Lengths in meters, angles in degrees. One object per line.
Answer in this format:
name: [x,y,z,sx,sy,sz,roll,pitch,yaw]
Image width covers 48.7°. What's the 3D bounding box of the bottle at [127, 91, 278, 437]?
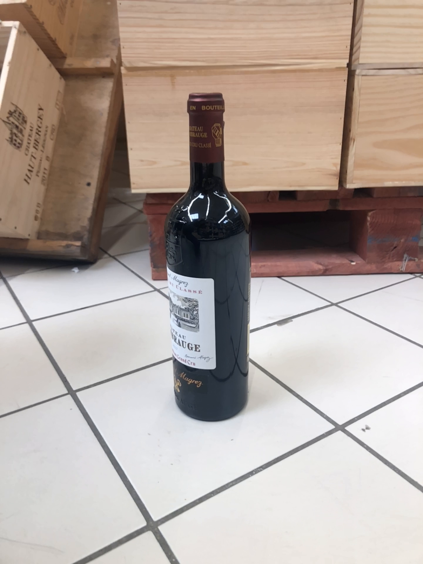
bottle: [-0.008,-0.018,0.426,0.090,0.289,0.090,-1,22,0]
